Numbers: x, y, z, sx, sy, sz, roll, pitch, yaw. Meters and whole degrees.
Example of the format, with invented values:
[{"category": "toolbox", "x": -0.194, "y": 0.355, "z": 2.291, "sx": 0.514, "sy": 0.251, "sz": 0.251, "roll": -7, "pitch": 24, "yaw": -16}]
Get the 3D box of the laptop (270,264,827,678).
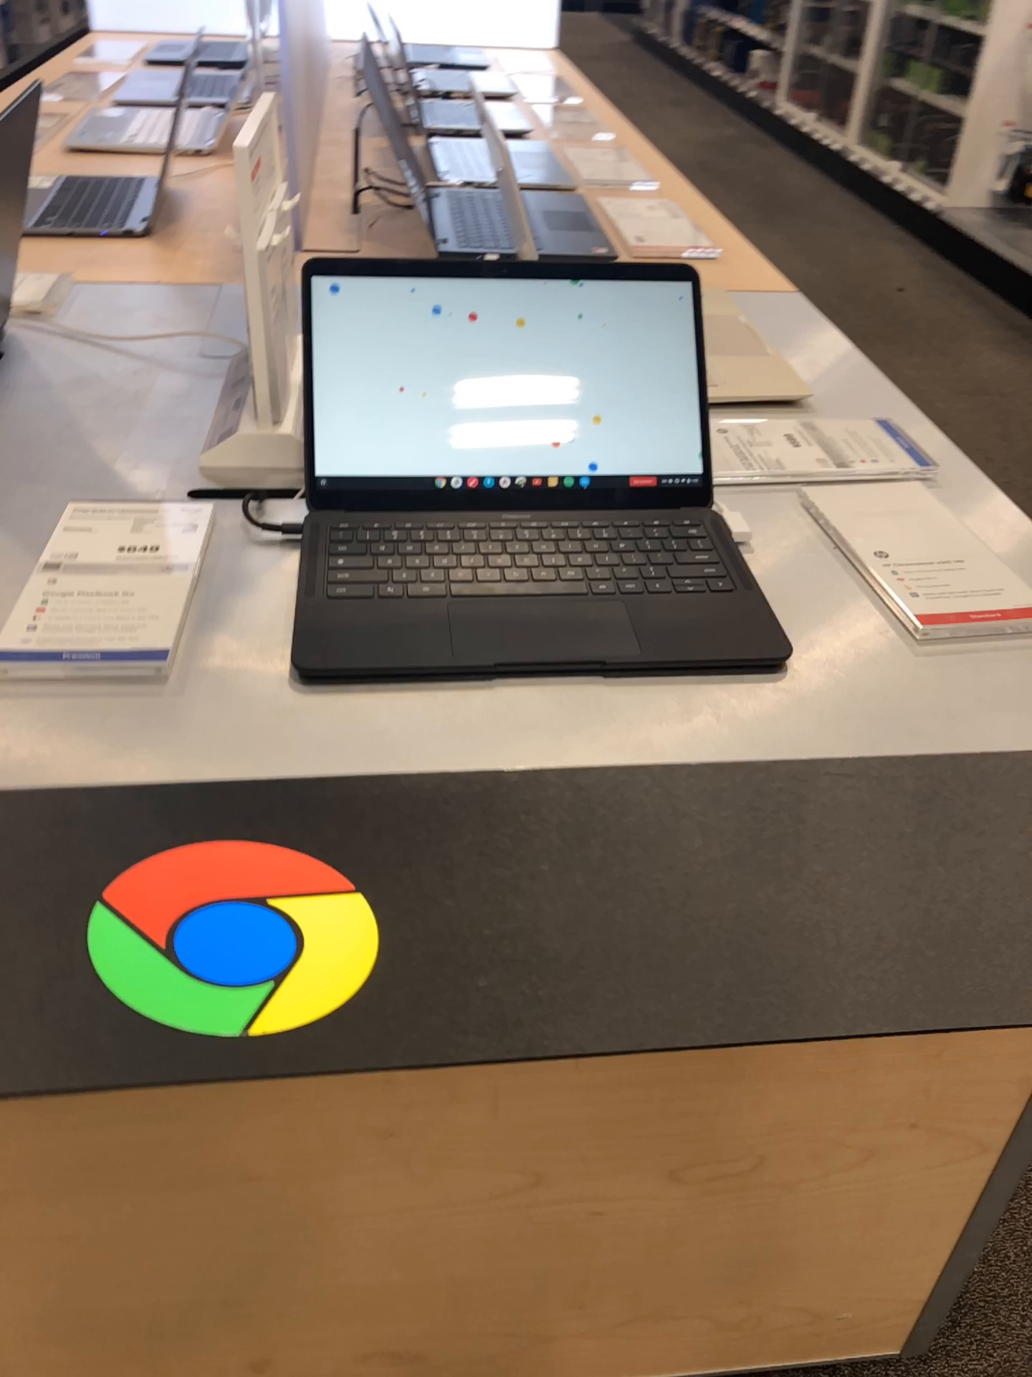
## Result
[{"category": "laptop", "x": 0.002, "y": -0.165, "z": 0.762, "sx": 0.293, "sy": 0.134, "sz": 0.337, "roll": -1, "pitch": 36, "yaw": -7}]
